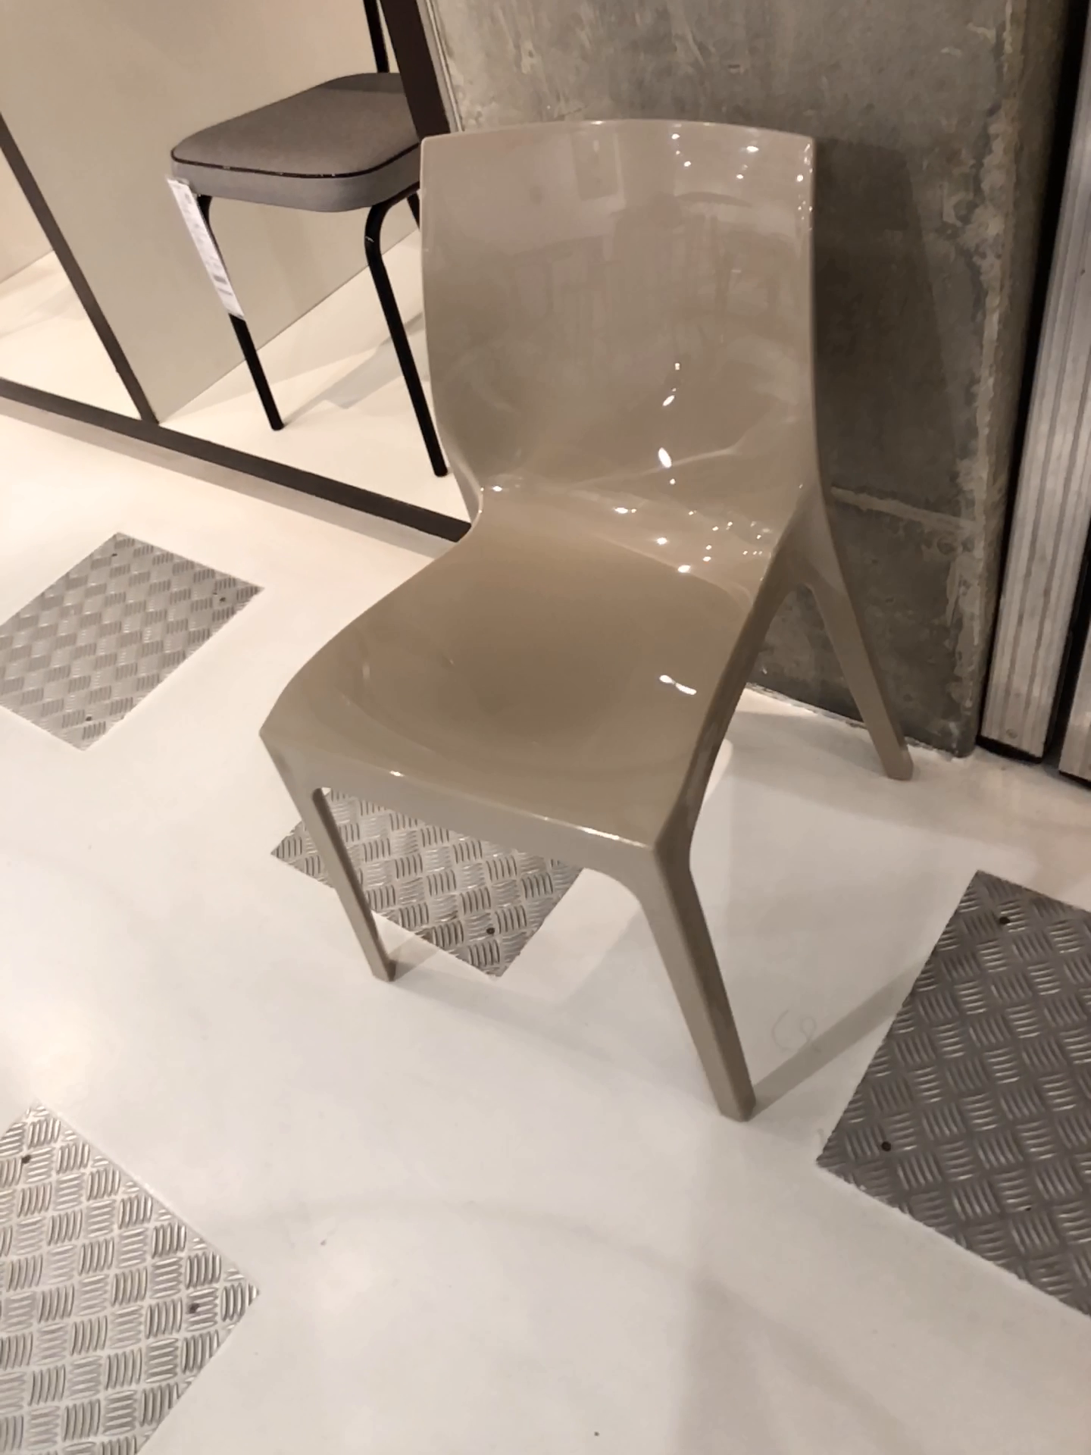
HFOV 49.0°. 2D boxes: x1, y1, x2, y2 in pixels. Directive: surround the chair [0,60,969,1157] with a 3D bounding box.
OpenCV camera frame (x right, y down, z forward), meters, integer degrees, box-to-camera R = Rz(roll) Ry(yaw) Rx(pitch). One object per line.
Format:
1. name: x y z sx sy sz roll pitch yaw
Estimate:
1. chair: 0.040 -0.104 1.192 0.551 0.825 0.562 15 53 27
